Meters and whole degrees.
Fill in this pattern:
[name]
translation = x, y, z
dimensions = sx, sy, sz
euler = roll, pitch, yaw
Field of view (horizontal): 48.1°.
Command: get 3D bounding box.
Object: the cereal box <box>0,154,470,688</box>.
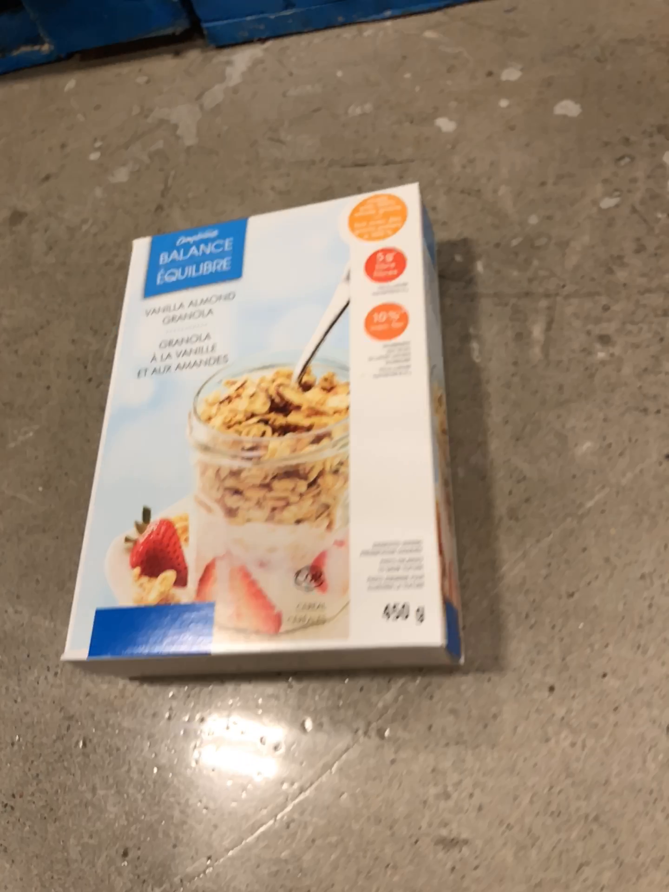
[cereal box]
translation = -0.042, -0.014, 0.363
dimensions = 0.190, 0.050, 0.240
euler = -7, 64, 15
